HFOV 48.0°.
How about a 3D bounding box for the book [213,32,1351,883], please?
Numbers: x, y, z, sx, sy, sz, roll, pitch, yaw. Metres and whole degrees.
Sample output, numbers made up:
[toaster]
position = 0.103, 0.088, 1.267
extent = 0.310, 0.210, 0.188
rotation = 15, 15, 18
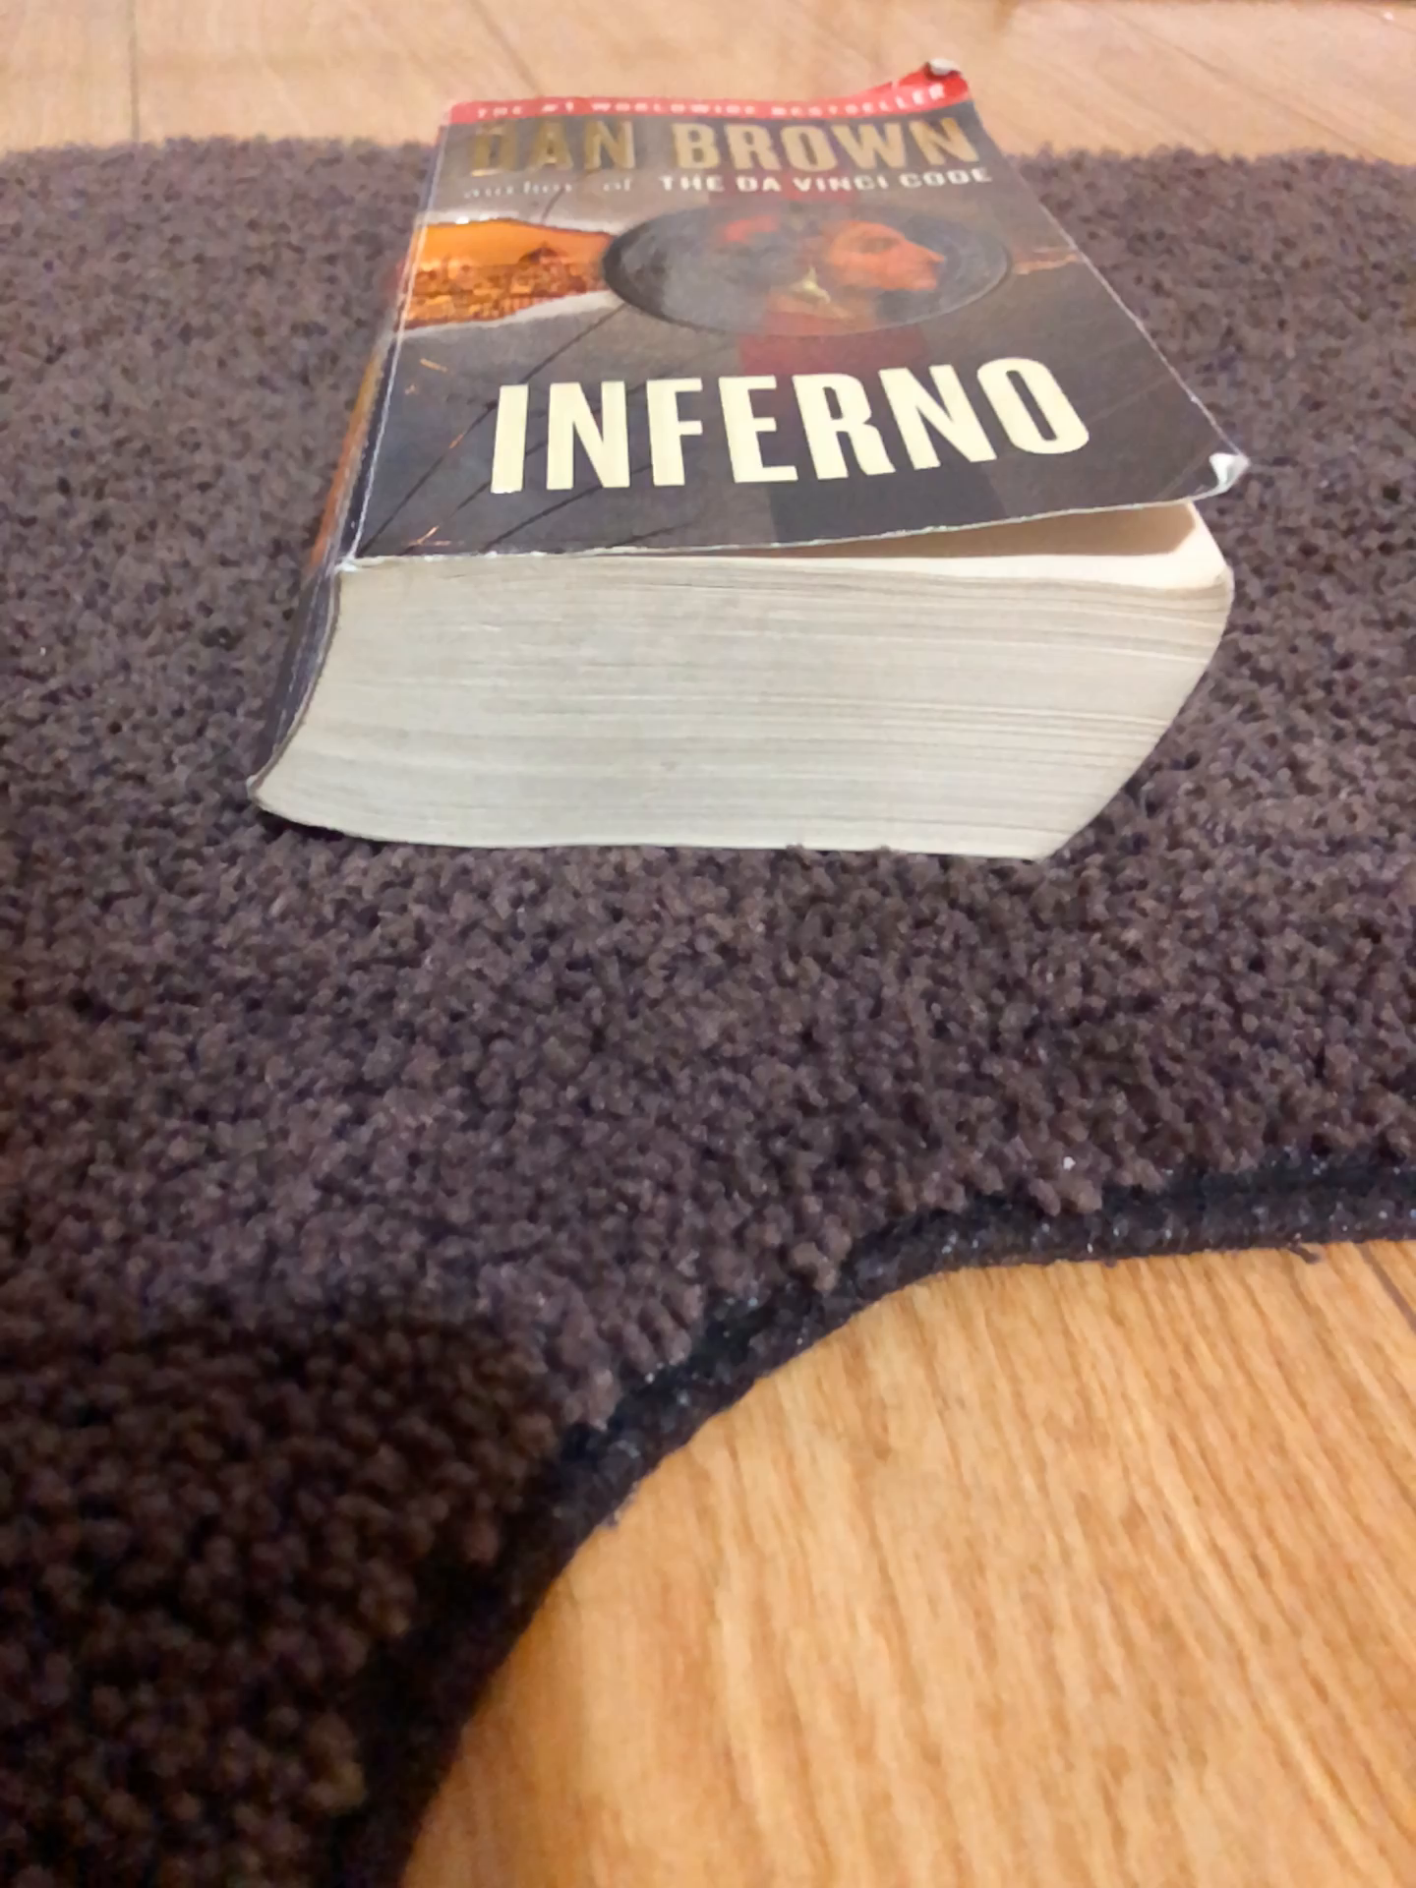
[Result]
[book]
position = 0.002, -0.093, 0.258
extent = 0.120, 0.050, 0.201
rotation = 0, 42, -5
